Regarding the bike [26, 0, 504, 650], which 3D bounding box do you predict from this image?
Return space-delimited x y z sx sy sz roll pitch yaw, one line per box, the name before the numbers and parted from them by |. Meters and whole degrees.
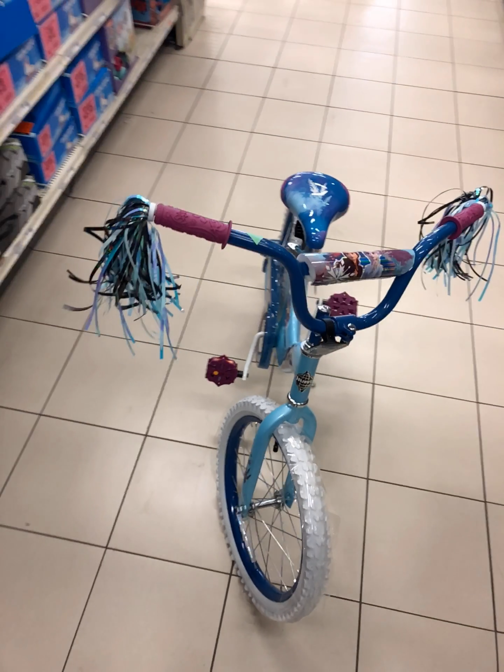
bike | 0.146 -0.072 1.195 0.640 0.954 1.180 3 49 -1
